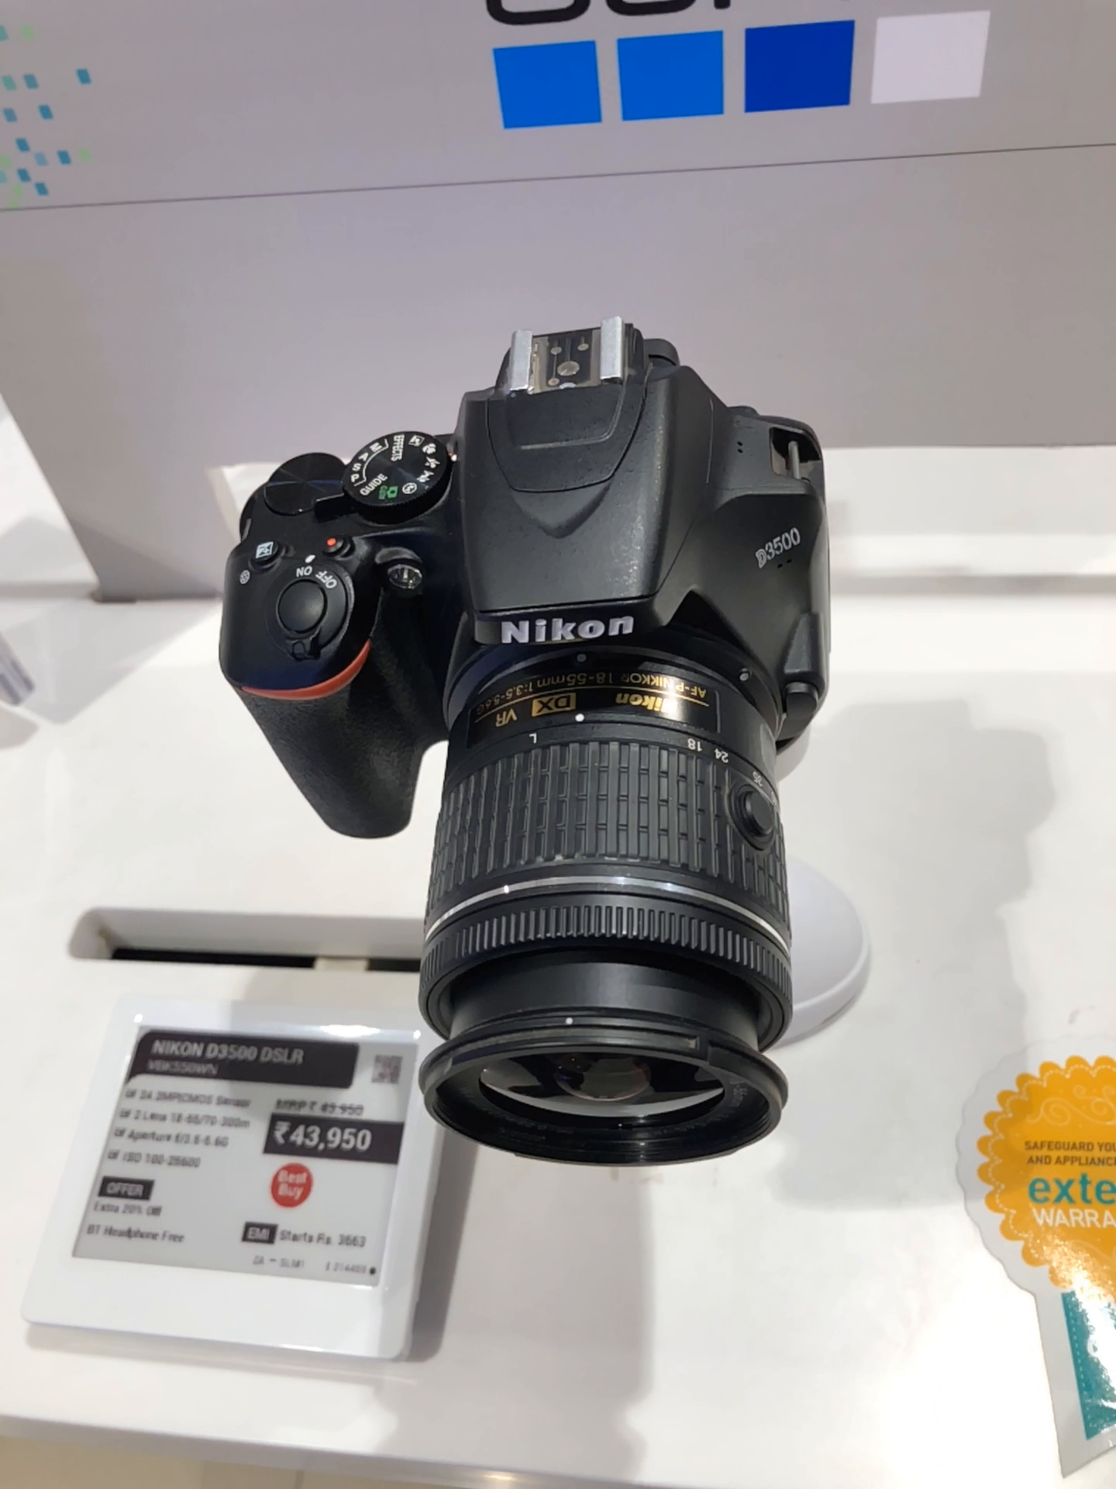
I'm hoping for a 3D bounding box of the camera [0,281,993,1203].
[{"bbox_3d":[-0.006,0.001,0.213,0.120,0.089,0.121,-4,52,6],"label":"camera"}]
